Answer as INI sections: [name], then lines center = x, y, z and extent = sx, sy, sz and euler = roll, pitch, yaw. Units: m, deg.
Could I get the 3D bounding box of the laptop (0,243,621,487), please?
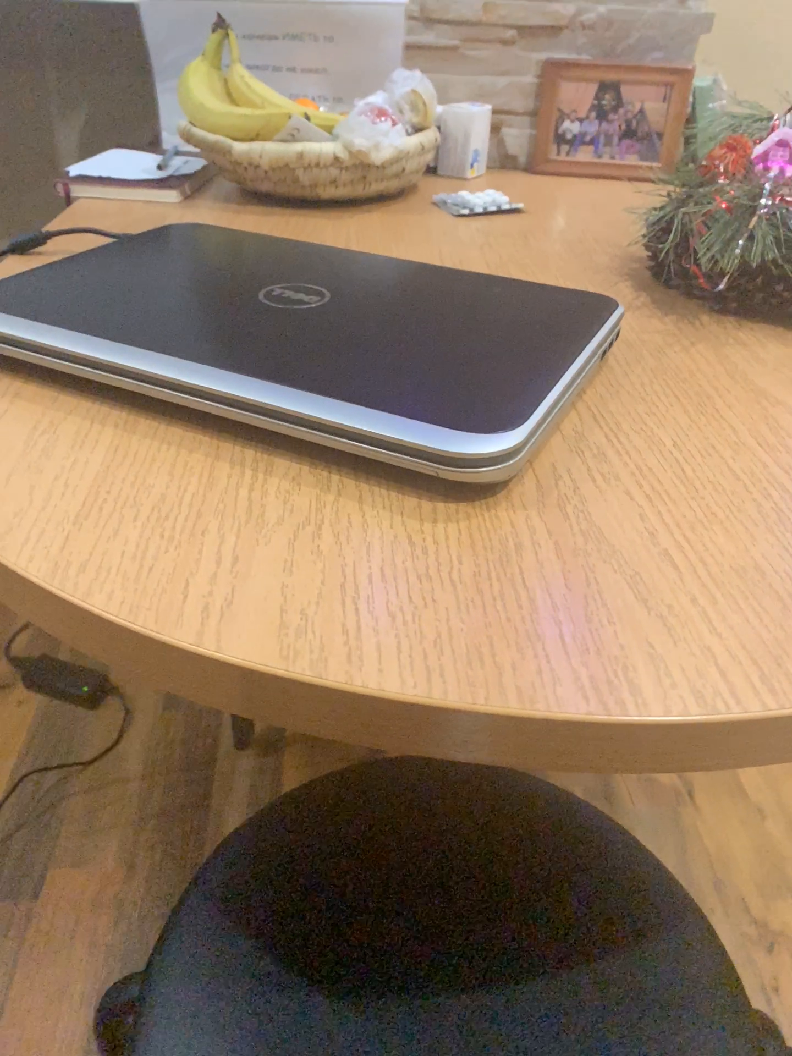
[laptop]
center = -0.058, -0.126, 0.522
extent = 0.349, 0.004, 0.226
euler = 17, 39, 23
